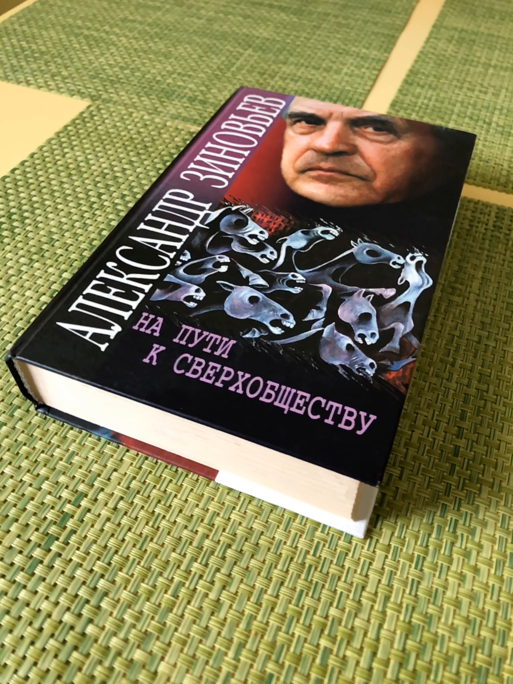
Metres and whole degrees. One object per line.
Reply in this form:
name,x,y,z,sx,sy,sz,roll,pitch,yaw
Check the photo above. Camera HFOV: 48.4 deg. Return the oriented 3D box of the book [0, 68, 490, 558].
book,0.003,-0.038,0.241,0.150,0.040,0.201,18,52,13
